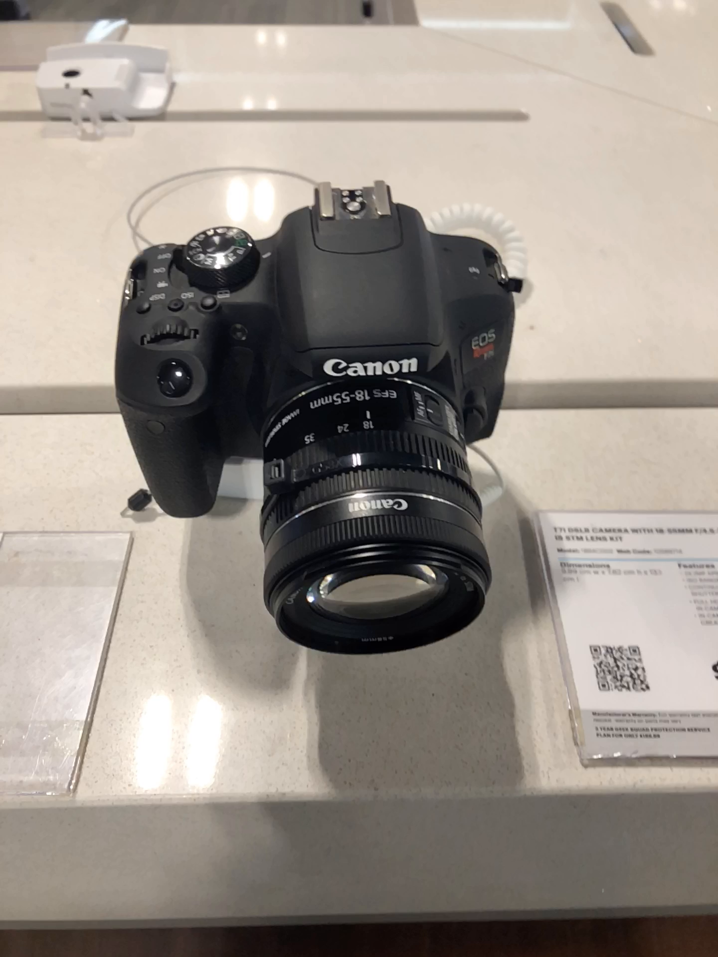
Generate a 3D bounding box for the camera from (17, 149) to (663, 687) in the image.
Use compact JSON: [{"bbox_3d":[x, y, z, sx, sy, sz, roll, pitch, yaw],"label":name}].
[{"bbox_3d":[-0.009,-0.023,0.253,0.140,0.099,0.131,-4,47,-4],"label":"camera"}]
